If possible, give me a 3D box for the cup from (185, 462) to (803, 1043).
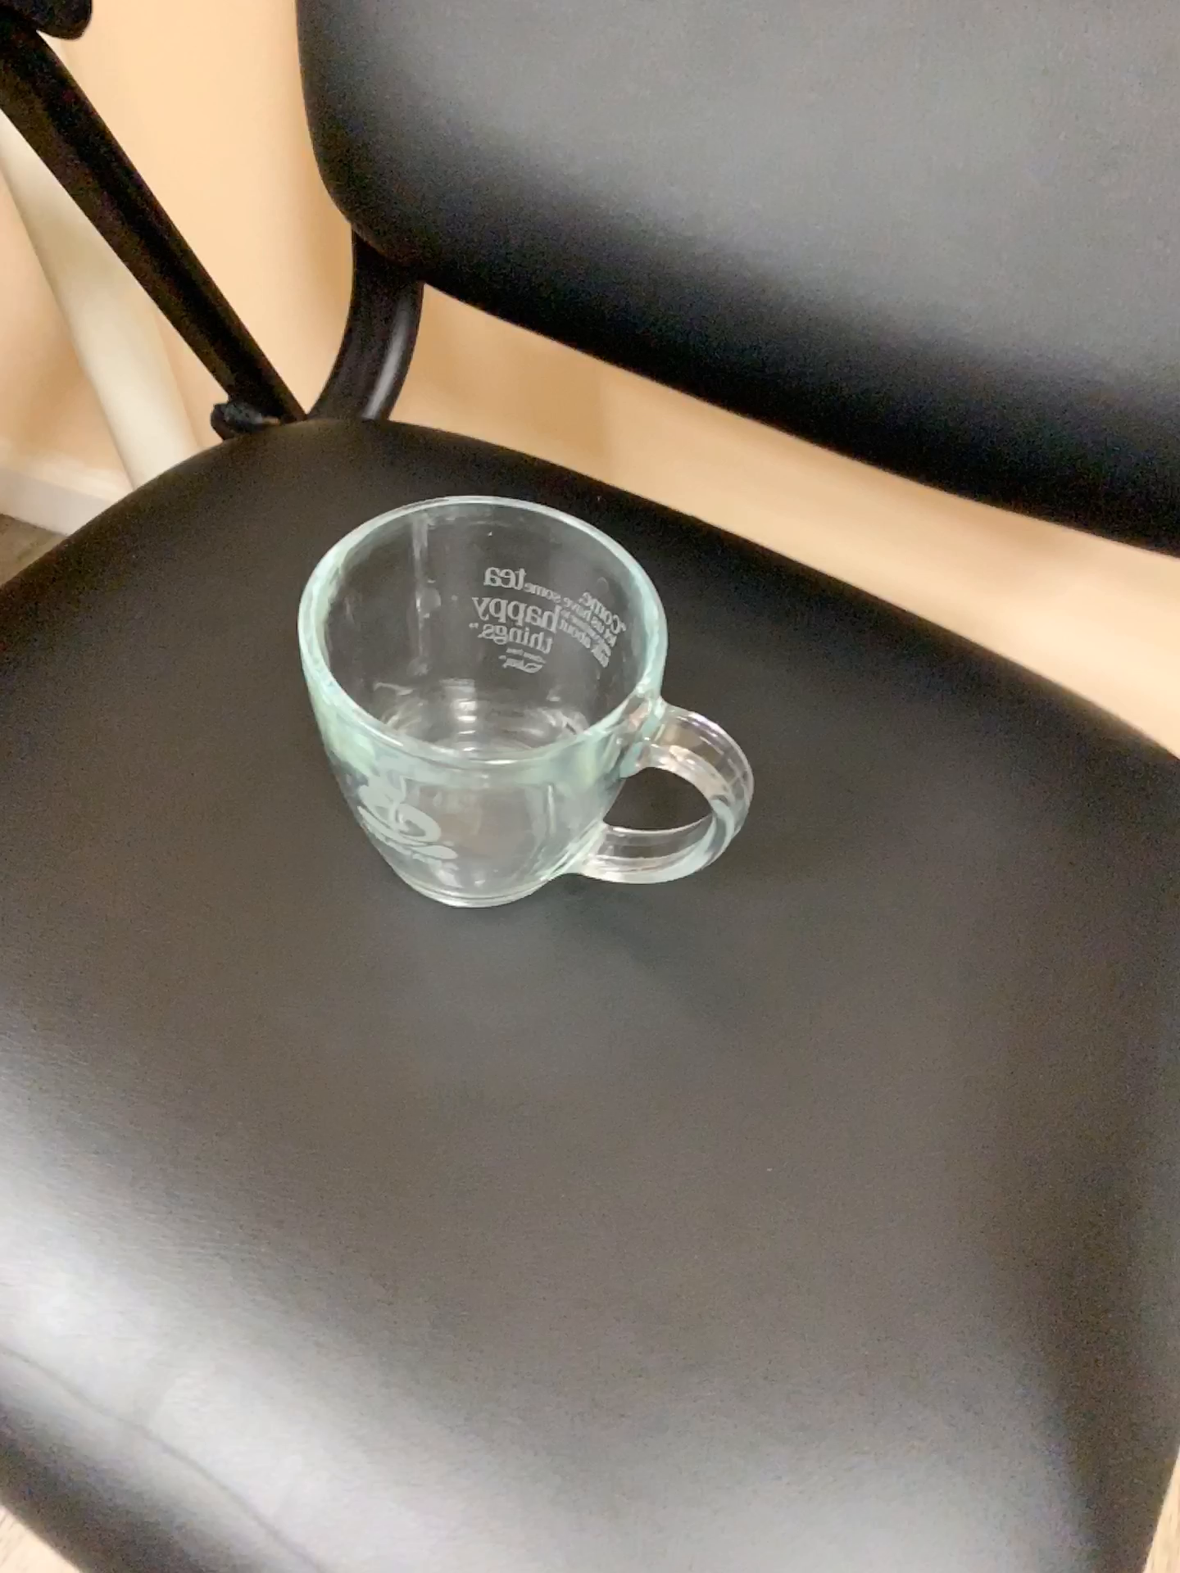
[{"bbox_3d":[-0.026,-0.010,0.363,0.139,0.100,0.096,18,53,7],"label":"cup"}]
